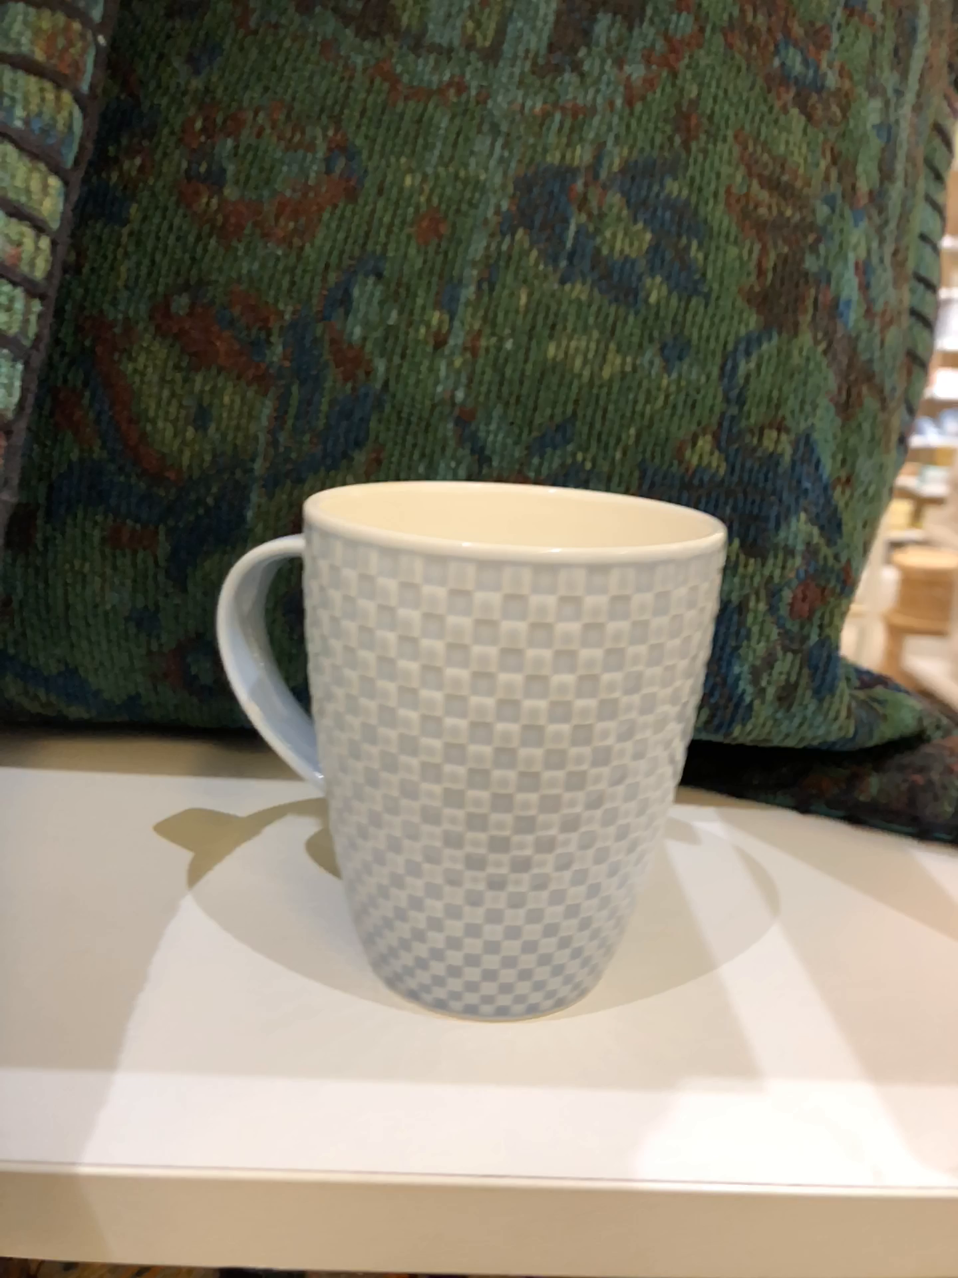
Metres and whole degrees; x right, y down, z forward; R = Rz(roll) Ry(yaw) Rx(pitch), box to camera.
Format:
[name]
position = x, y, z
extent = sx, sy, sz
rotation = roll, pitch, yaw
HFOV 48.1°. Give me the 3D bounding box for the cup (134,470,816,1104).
[cup]
position = 0.003, 0.015, 0.215
extent = 0.100, 0.080, 0.090
rotation = 10, 17, 26
